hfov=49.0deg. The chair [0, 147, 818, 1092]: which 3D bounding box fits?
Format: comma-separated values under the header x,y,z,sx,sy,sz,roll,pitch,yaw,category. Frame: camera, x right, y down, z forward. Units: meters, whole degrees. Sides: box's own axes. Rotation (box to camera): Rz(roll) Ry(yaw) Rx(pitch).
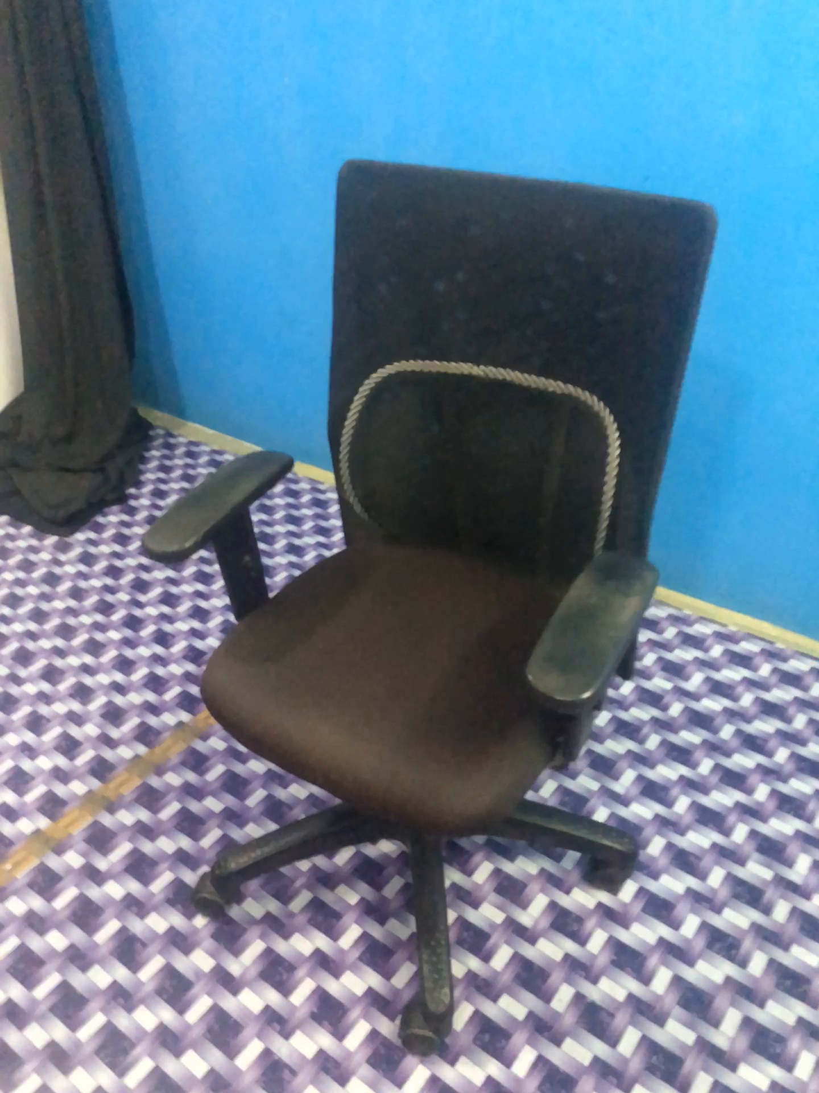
x,y,z,sx,sy,sz,roll,pitch,yaw,category
0.019,0.049,1.146,0.660,0.885,0.674,17,37,25,chair
